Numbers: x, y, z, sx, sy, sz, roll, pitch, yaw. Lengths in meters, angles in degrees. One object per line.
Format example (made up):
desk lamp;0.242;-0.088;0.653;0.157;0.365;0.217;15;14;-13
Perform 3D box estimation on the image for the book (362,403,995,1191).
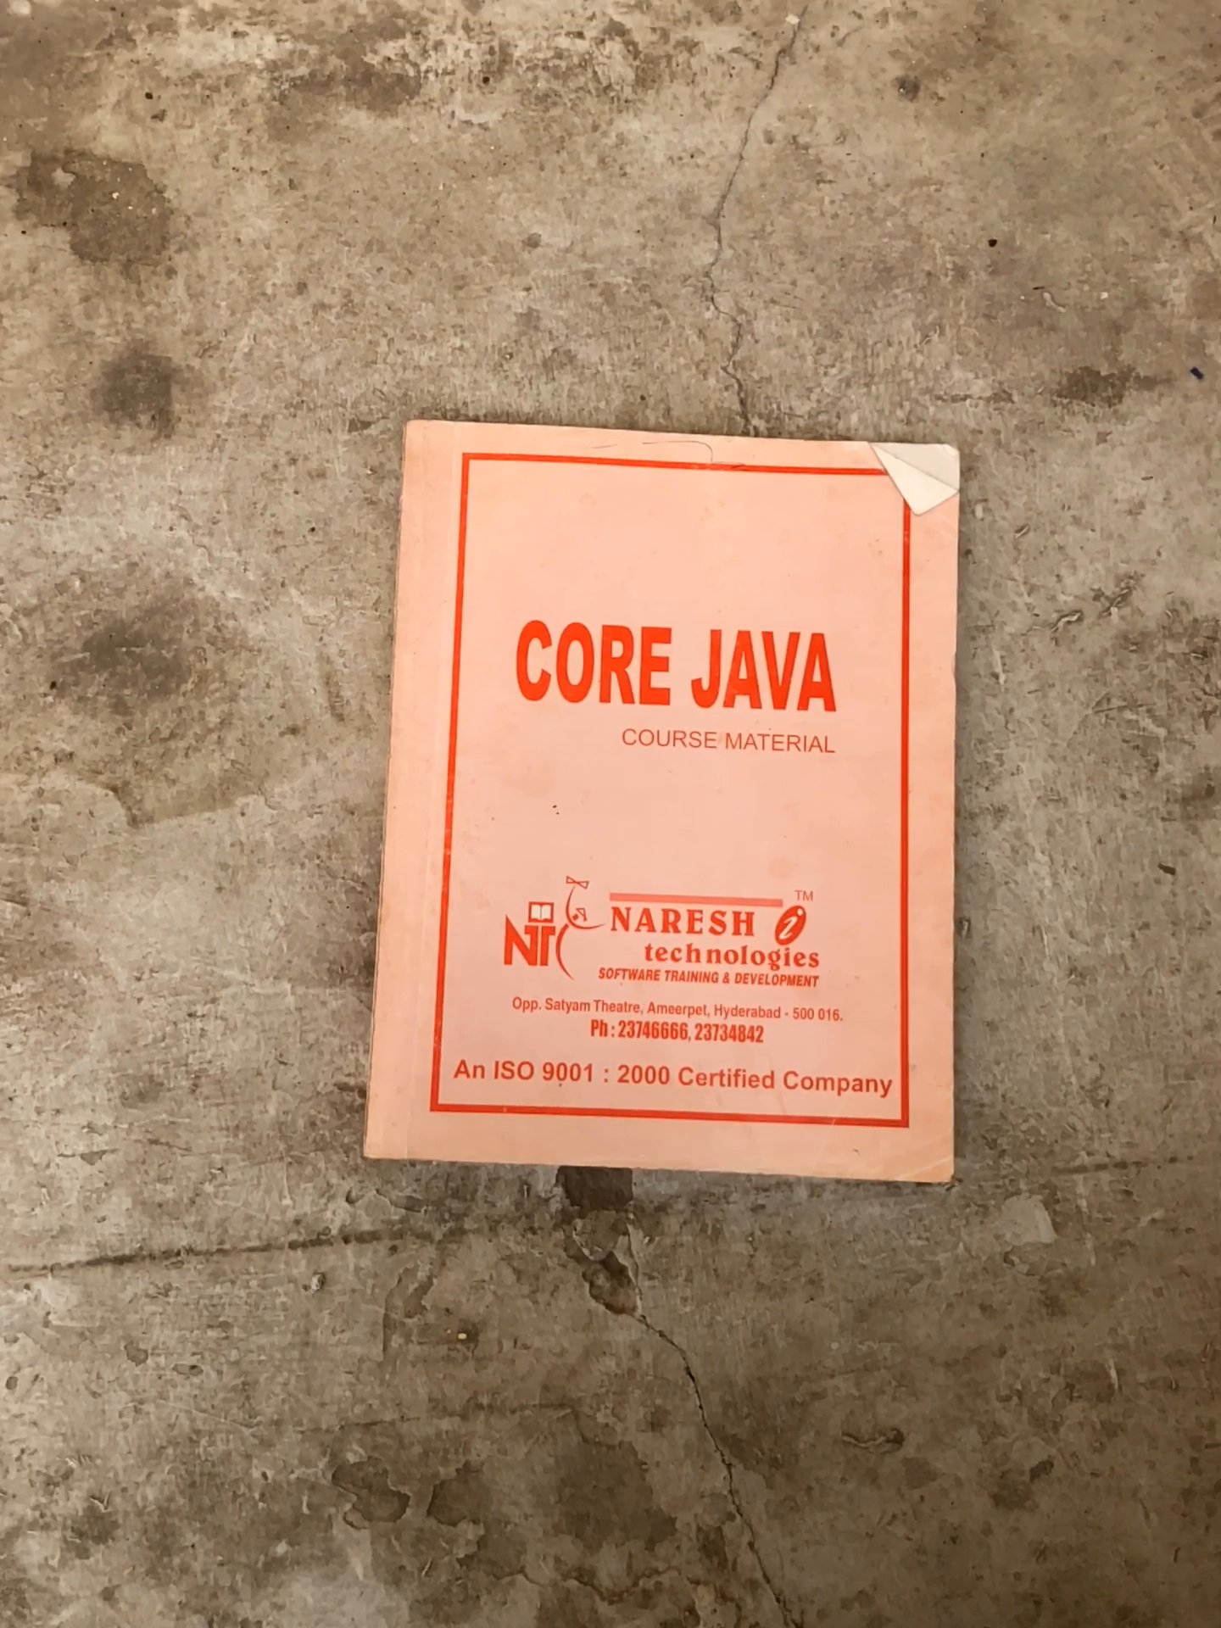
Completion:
book;0.025;-0.009;0.463;0.200;0.030;0.260;1;81;0
